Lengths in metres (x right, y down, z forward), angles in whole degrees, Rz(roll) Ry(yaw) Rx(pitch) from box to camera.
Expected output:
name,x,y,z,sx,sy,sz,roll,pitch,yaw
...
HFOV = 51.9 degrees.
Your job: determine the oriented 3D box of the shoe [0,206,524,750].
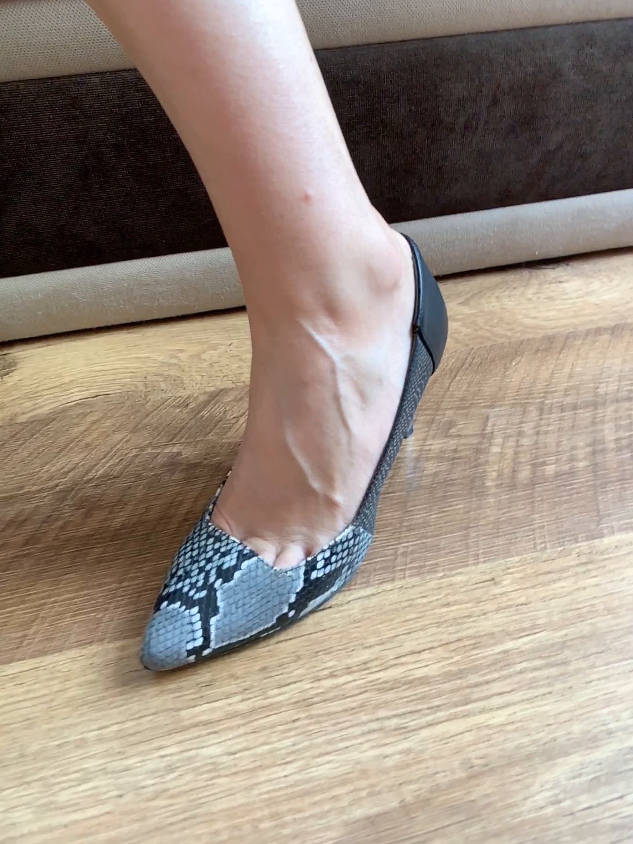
name,x,y,z,sx,sy,sz,roll,pitch,yaw
shoe,-0.004,0.002,0.313,0.090,0.109,0.251,25,48,29
